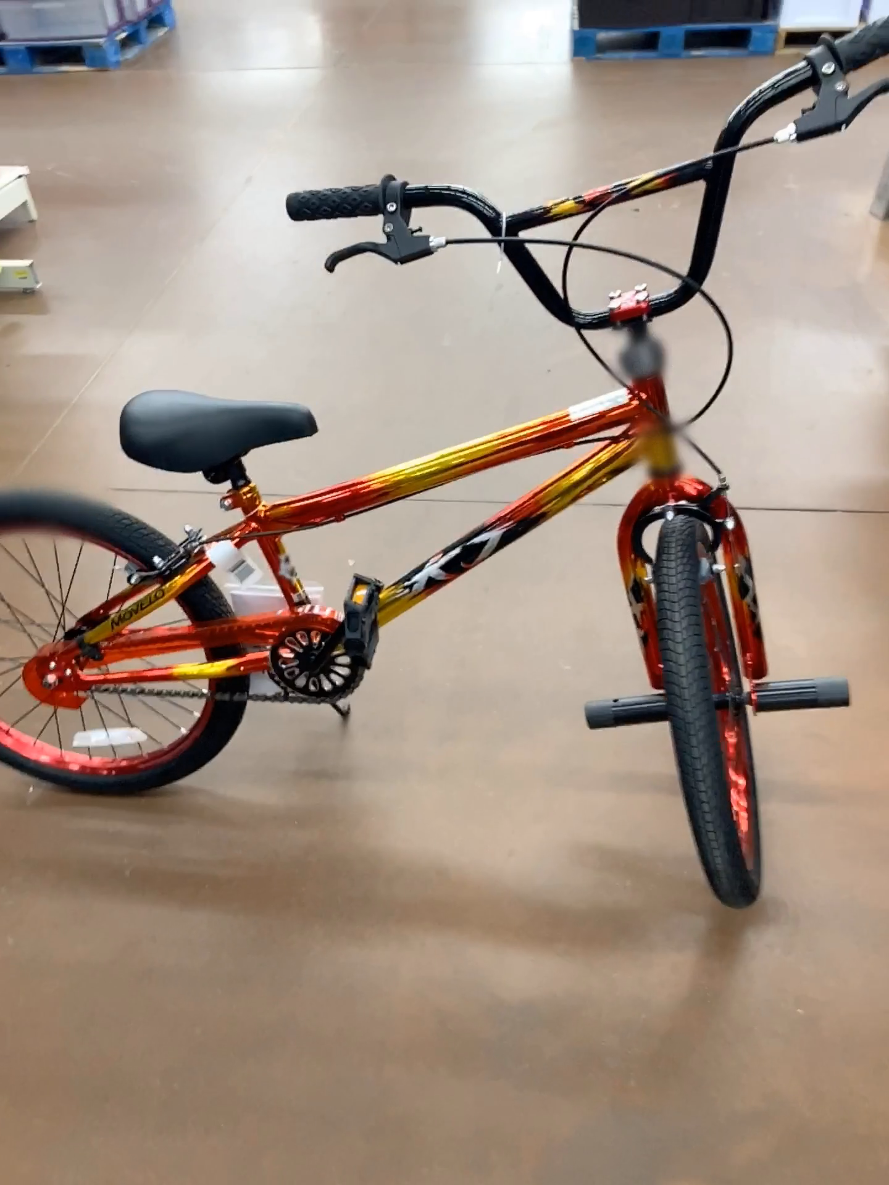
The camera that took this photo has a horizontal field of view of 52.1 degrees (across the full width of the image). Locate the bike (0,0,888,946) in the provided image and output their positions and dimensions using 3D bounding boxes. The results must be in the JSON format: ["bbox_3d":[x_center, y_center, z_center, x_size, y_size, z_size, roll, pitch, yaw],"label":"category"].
[{"bbox_3d":[-0.185,-0.211,1.148,1.122,0.925,0.707,-5,41,-1],"label":"bike"}]
